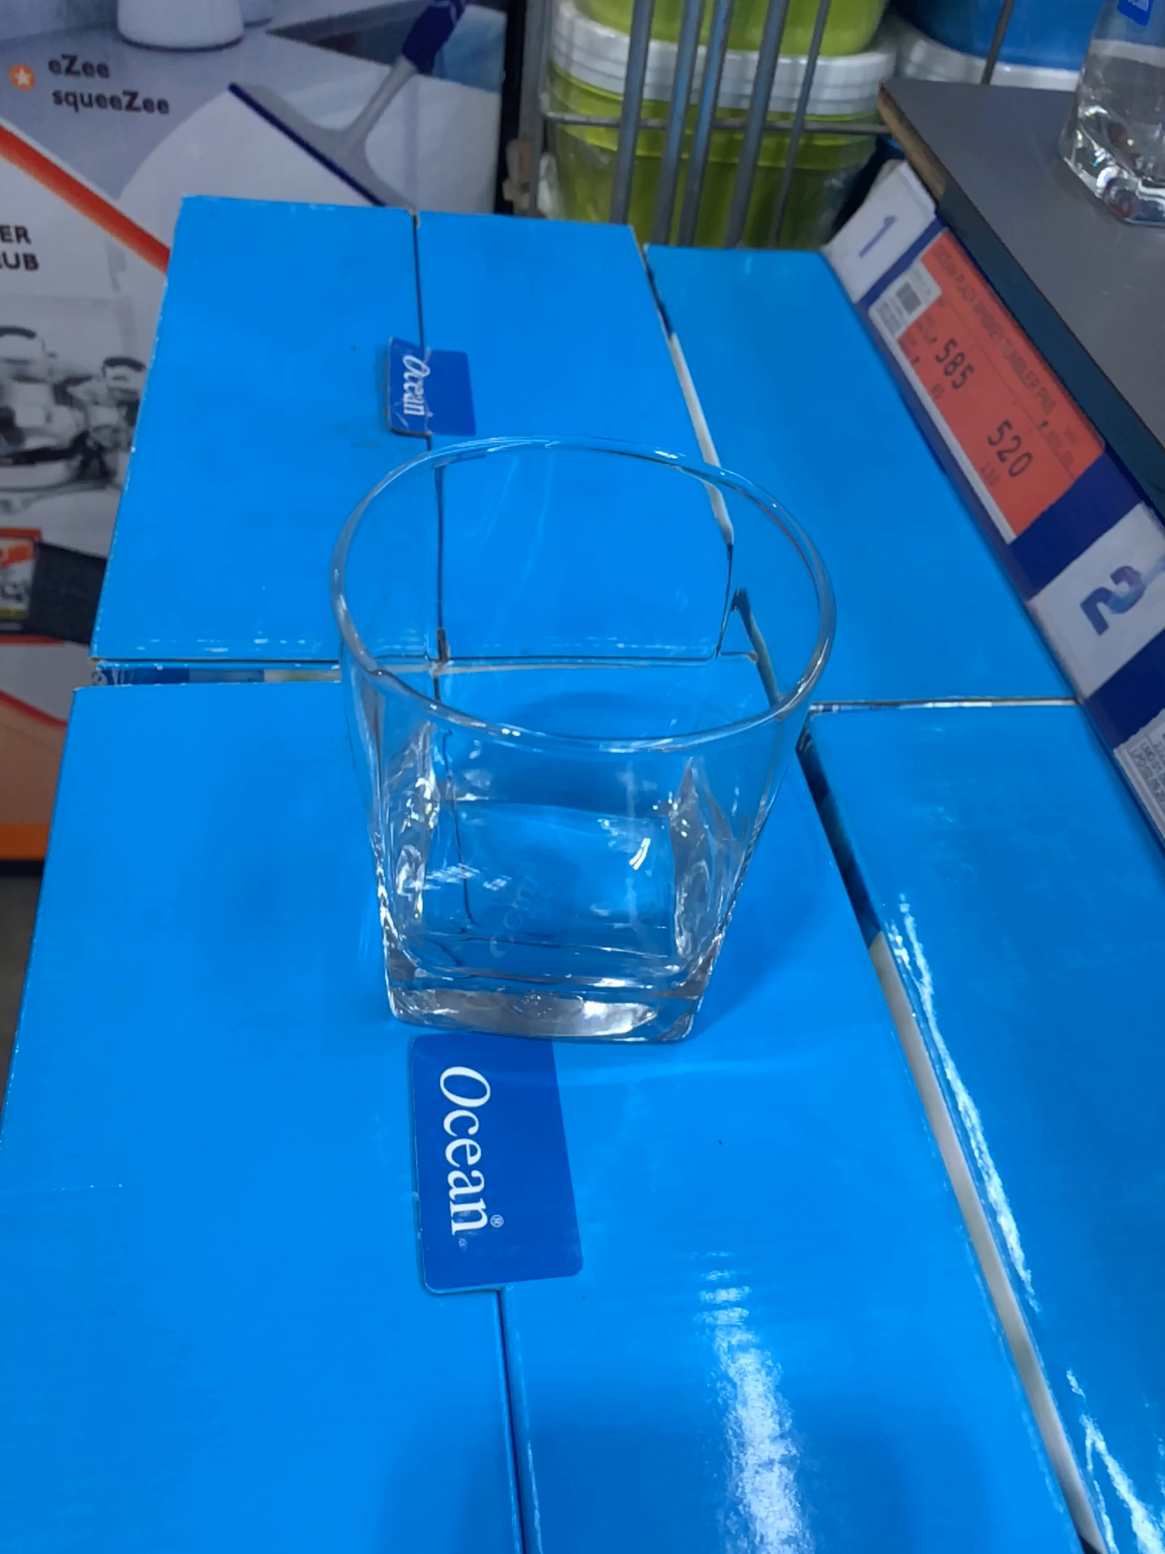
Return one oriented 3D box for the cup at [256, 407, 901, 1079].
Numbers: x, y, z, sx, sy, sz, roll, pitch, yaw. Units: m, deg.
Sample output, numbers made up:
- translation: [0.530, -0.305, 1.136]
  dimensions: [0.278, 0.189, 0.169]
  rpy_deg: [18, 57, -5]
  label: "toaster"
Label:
- translation: [-0.005, -0.006, 0.241]
  dimensions: [0.090, 0.080, 0.090]
  rpy_deg: [4, 45, -4]
  label: "cup"
